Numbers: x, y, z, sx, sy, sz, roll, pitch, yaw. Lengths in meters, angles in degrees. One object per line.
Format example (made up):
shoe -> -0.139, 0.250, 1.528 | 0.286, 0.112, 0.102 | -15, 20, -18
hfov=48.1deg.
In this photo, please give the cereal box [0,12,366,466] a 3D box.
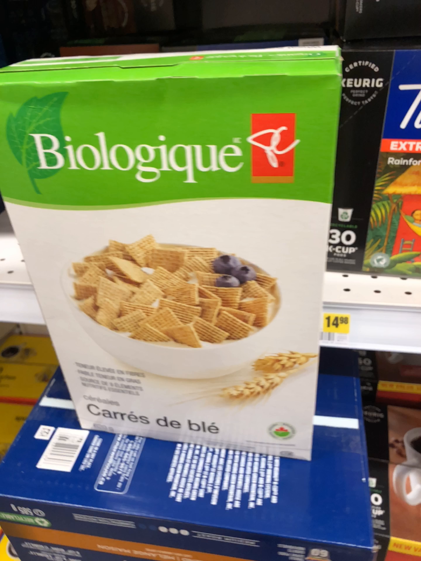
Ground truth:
cereal box -> -0.022, -0.006, 0.319 | 0.210, 0.289, 0.070 | 4, 37, 13
